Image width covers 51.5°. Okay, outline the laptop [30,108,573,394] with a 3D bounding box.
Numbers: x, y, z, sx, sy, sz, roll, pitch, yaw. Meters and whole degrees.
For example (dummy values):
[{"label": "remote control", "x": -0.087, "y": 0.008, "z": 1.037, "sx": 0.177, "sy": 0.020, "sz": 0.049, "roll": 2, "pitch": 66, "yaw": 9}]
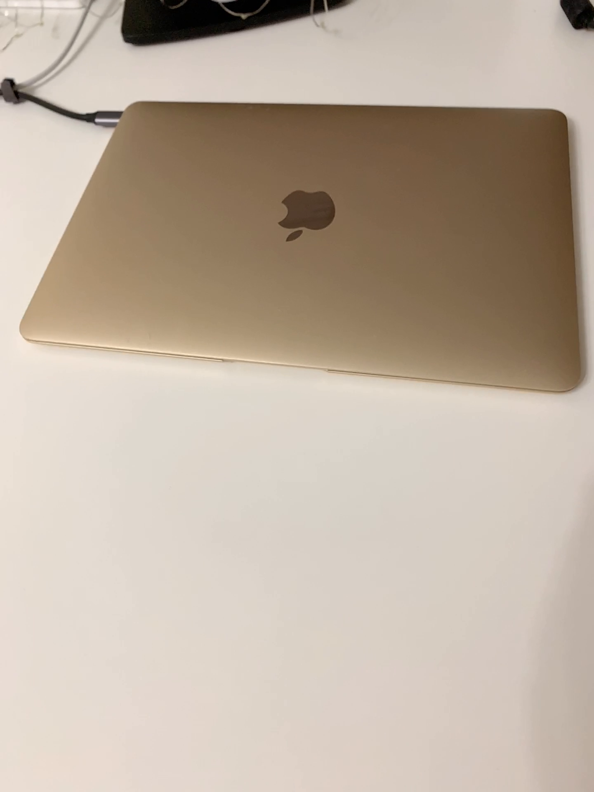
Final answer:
[{"label": "laptop", "x": 0.007, "y": -0.091, "z": 0.328, "sx": 0.255, "sy": 0.009, "sz": 0.175, "roll": 6, "pitch": 61, "yaw": 10}]
